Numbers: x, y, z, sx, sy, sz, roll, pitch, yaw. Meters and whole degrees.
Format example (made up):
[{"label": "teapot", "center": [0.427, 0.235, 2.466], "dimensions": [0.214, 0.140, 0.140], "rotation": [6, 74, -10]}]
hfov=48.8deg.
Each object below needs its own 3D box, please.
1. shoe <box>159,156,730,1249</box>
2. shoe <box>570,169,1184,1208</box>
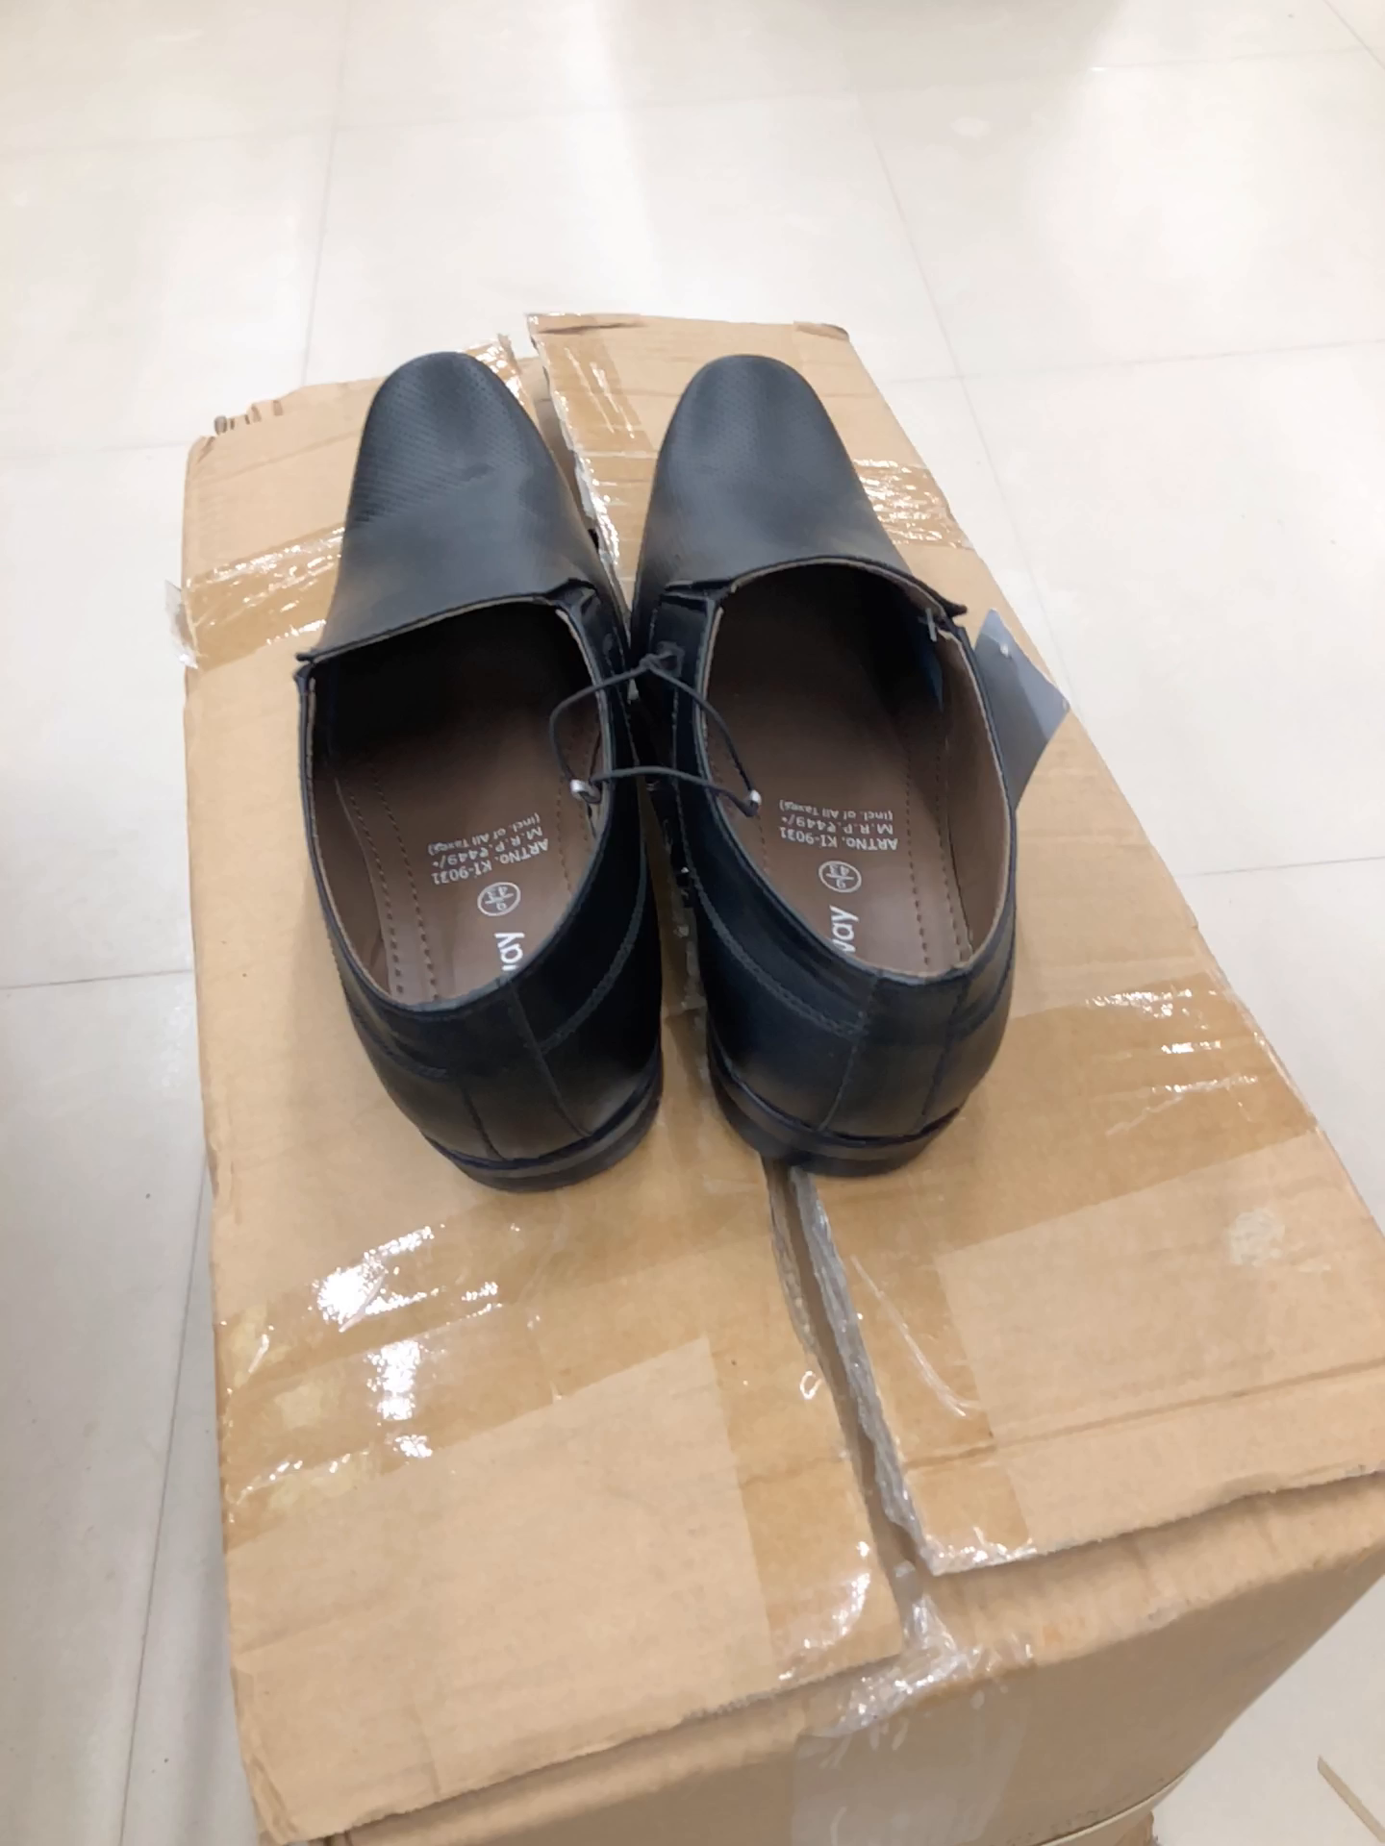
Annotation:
[{"label": "shoe", "center": [-0.070, -0.084, 0.432], "dimensions": [0.100, 0.099, 0.322], "rotation": [-12, 51, 1]}, {"label": "shoe", "center": [0.027, -0.090, 0.436], "dimensions": [0.100, 0.099, 0.322], "rotation": [-4, 51, -6]}]
